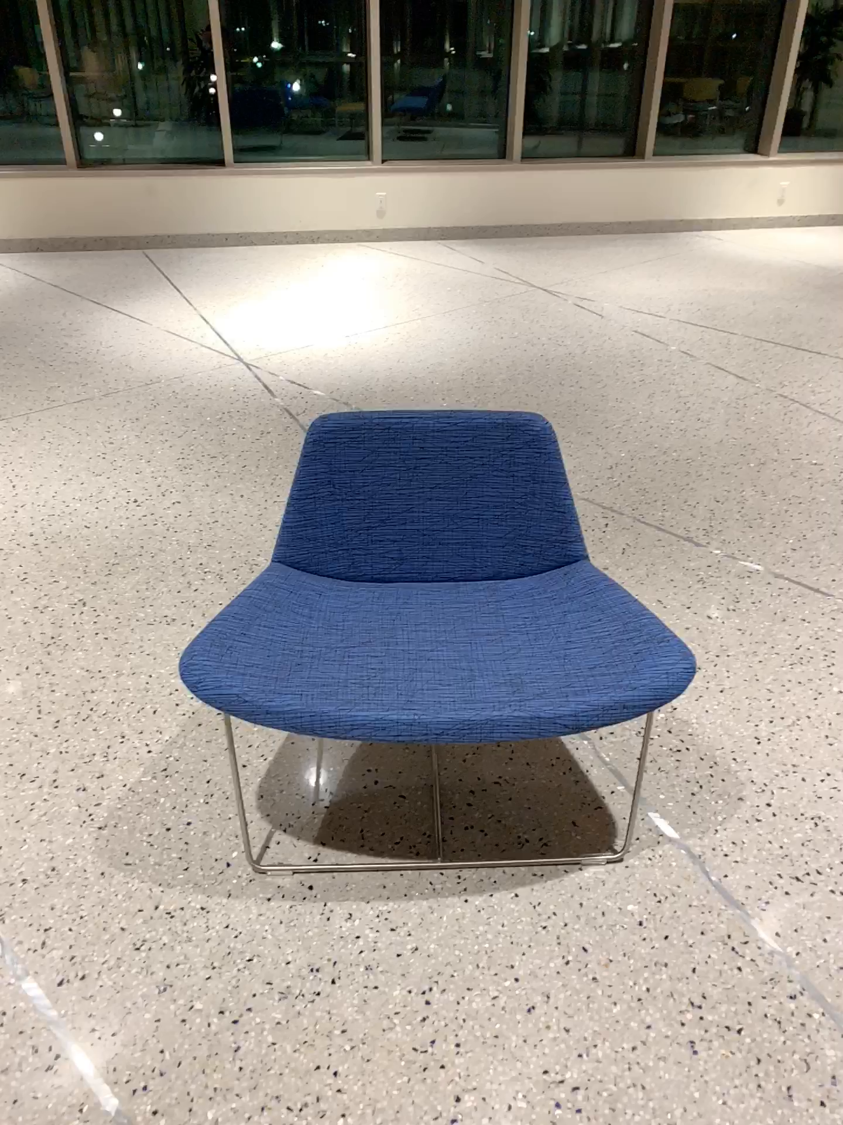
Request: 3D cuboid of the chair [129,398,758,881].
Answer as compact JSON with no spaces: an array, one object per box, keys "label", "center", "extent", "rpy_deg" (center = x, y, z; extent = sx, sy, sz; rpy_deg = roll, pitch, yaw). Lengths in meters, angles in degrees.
[{"label":"chair","center":[0.023,0.122,1.742],"extent":[0.941,0.698,0.667],"rpy_deg":[-1,31,-2]}]
